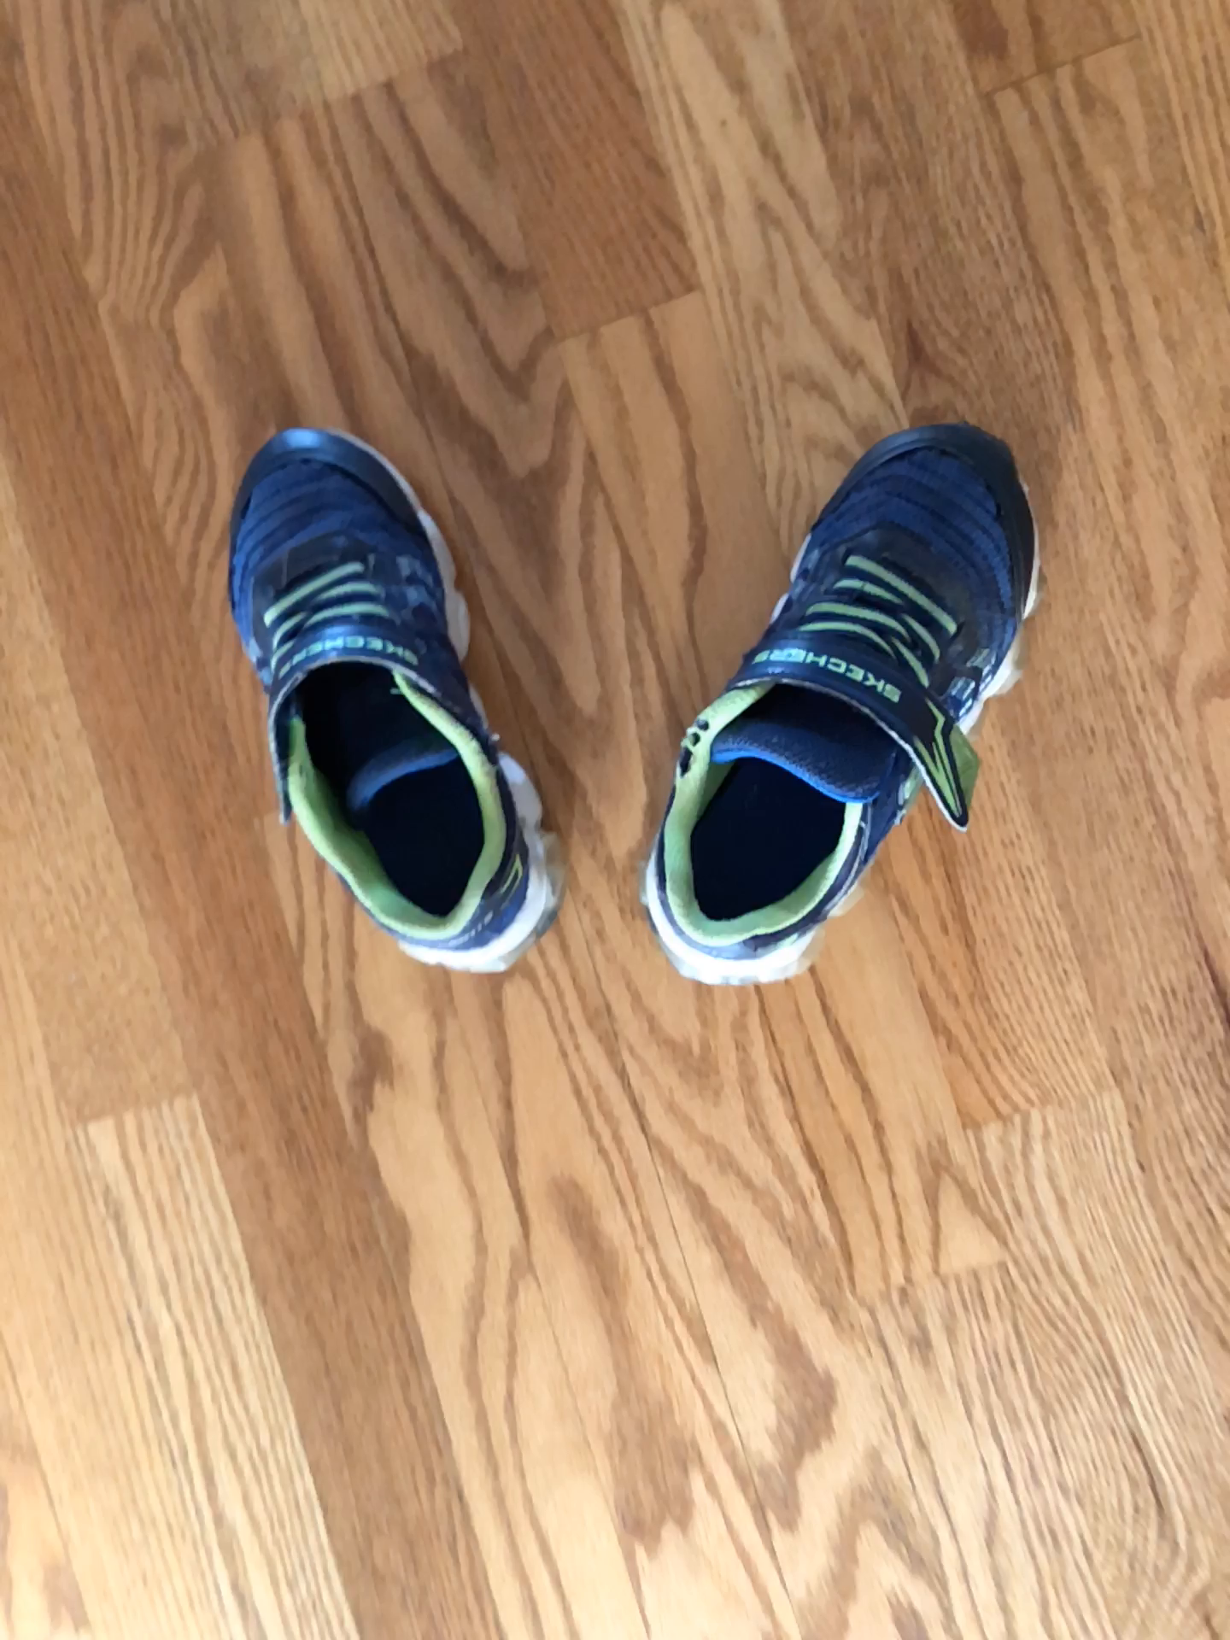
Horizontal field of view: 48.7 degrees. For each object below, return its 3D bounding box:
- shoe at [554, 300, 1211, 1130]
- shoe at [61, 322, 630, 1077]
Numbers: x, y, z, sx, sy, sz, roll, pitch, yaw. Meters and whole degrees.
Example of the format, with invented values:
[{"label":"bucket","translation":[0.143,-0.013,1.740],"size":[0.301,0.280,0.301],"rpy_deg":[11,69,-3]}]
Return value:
[{"label":"shoe","translation":[0.077,-0.029,0.423],"size":[0.093,0.087,0.212],"rpy_deg":[28,96,6]},{"label":"shoe","translation":[-0.081,-0.036,0.450],"size":[0.093,0.095,0.203],"rpy_deg":[-22,89,8]}]
